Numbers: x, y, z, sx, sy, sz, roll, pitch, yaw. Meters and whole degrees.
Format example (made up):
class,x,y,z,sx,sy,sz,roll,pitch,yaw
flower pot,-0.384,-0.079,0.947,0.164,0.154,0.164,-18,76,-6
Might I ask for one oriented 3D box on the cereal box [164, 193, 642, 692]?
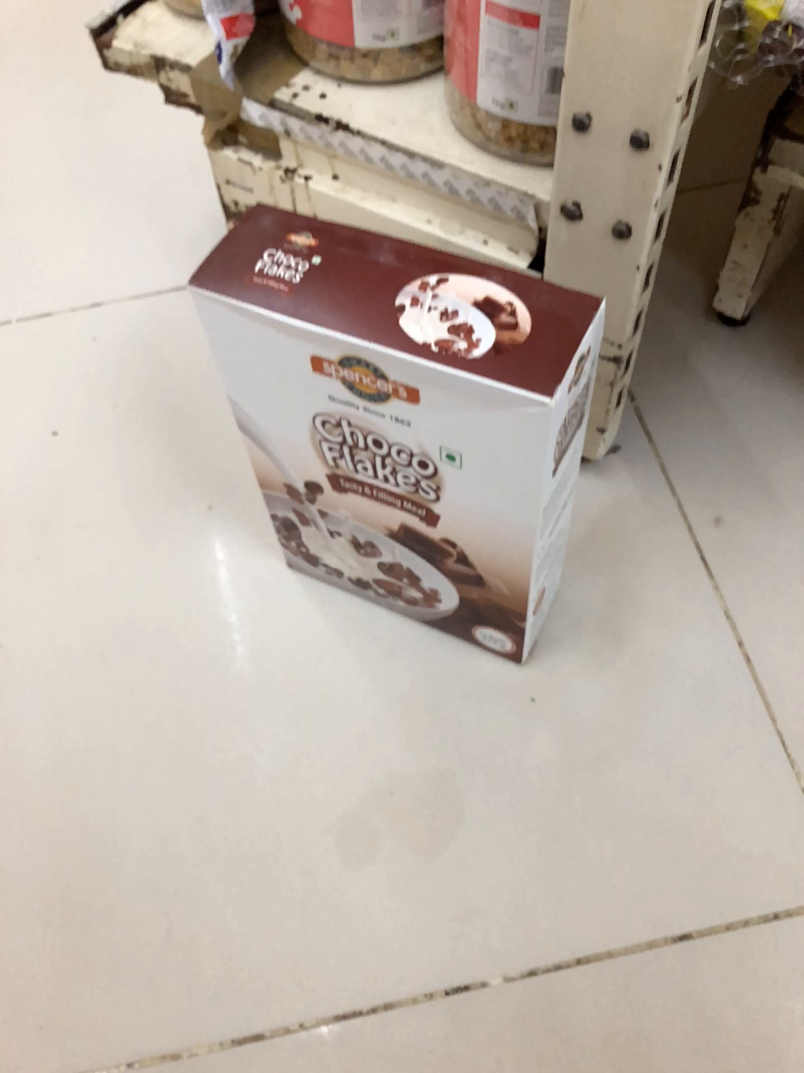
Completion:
class,x,y,z,sx,sy,sz,roll,pitch,yaw
cereal box,0.007,-0.031,0.476,0.190,0.259,0.060,22,62,18
